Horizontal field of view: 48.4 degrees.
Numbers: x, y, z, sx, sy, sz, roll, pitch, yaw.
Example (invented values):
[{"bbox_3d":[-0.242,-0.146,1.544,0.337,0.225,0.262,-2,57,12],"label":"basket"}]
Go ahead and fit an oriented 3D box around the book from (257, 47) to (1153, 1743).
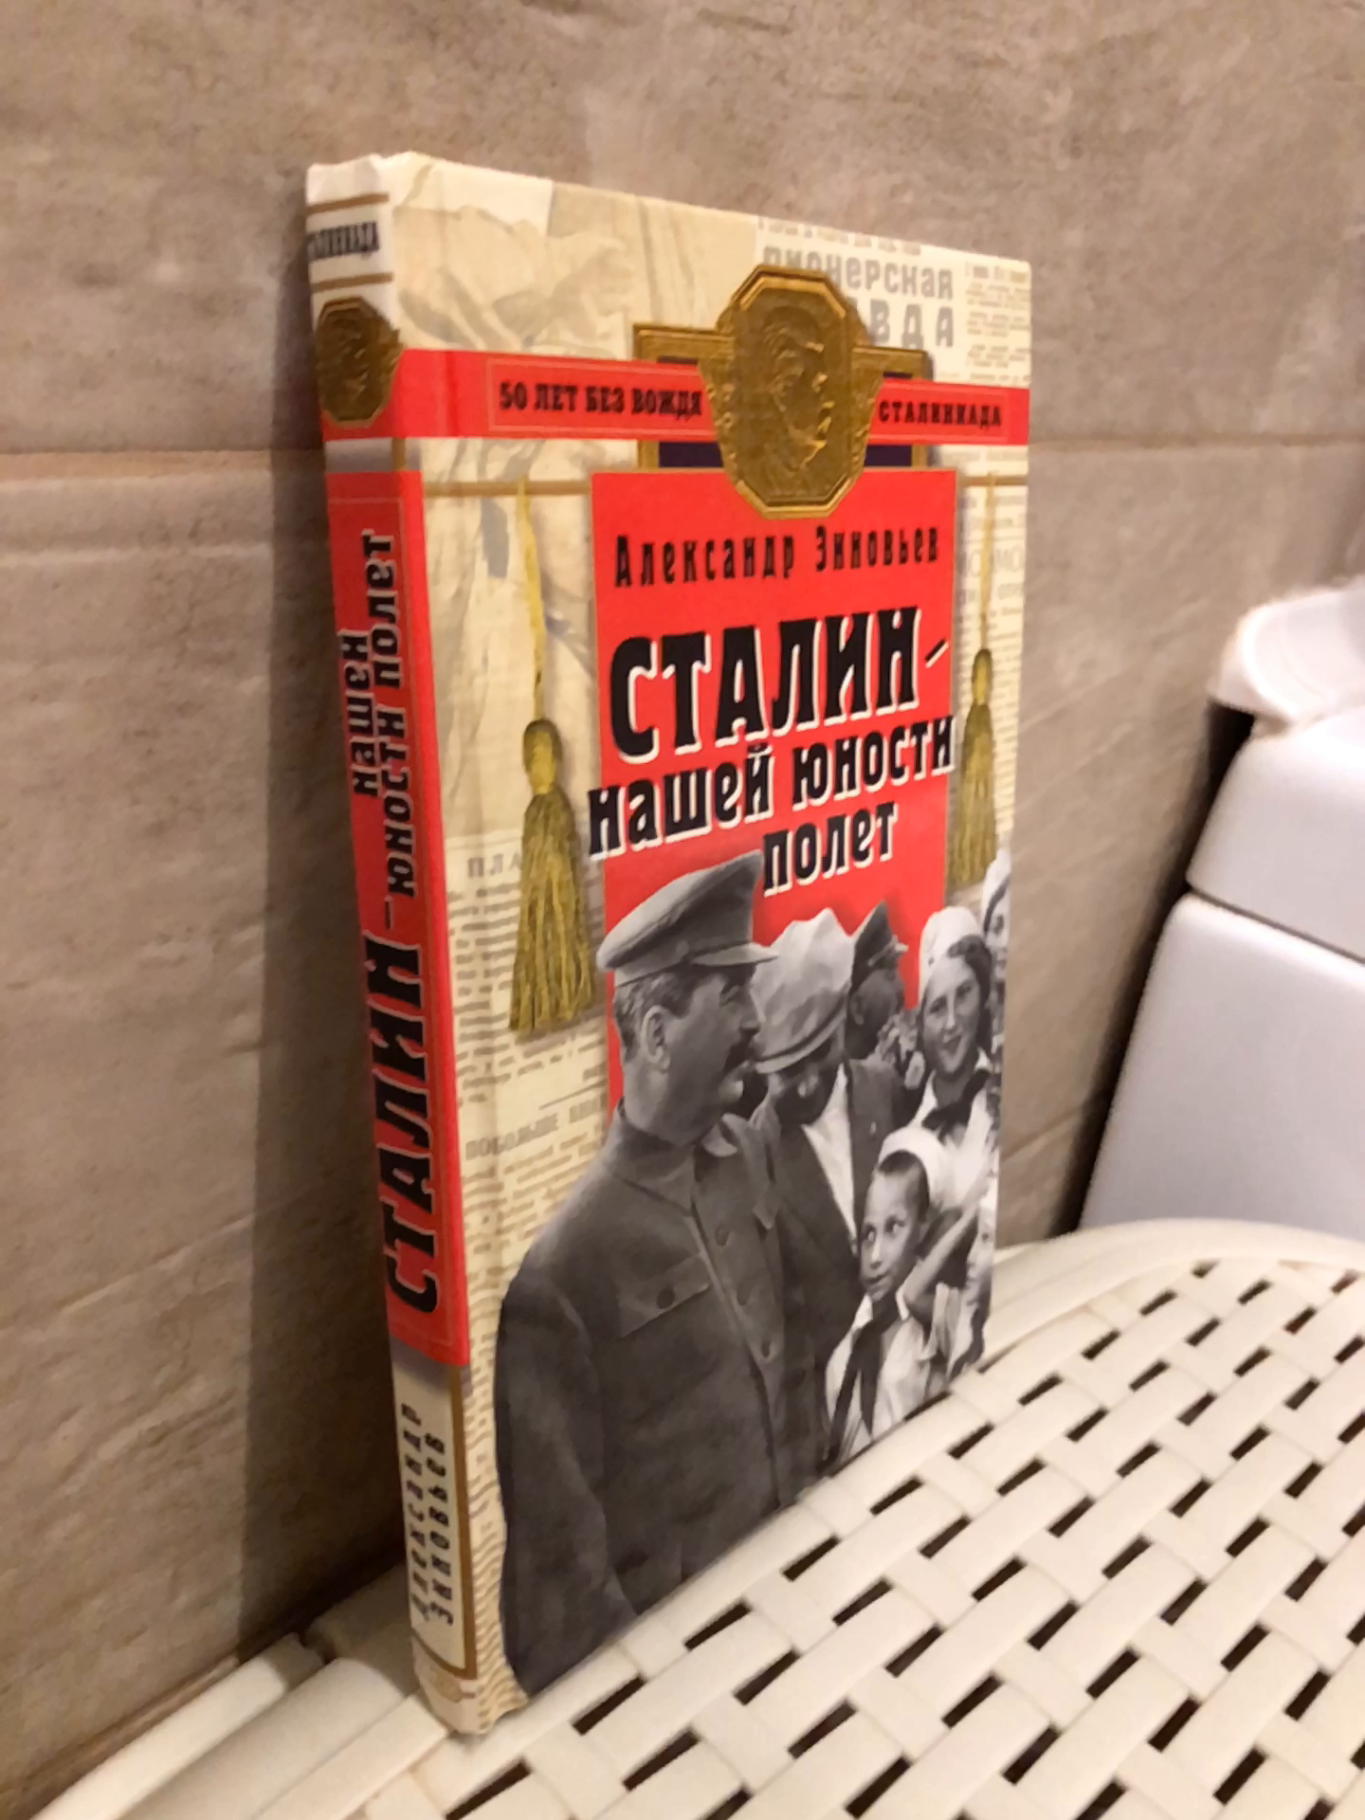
[{"bbox_3d":[0.014,-0.004,0.230,0.030,0.199,0.141,15,22,43],"label":"book"}]
